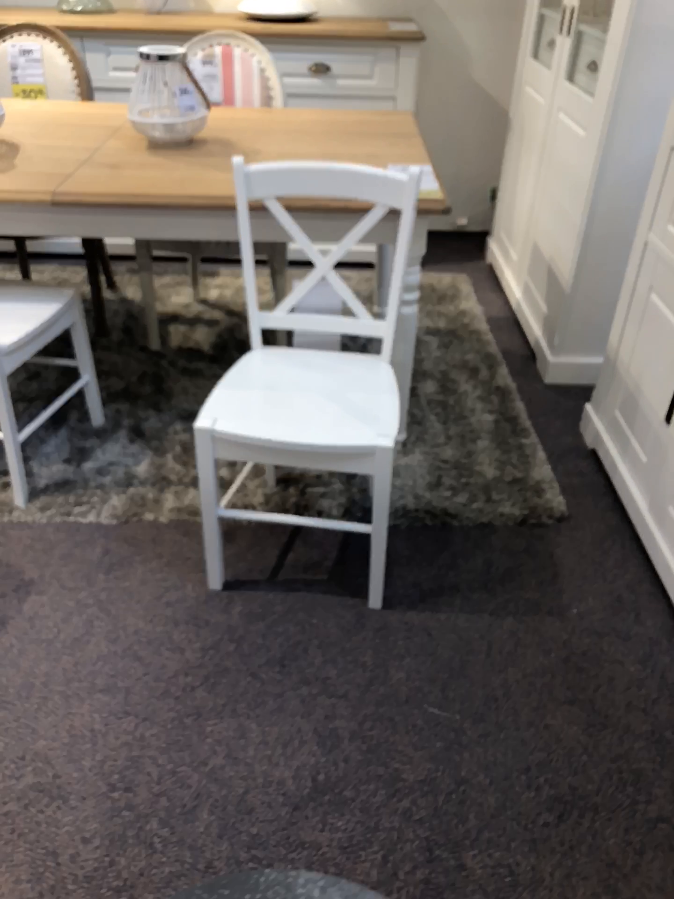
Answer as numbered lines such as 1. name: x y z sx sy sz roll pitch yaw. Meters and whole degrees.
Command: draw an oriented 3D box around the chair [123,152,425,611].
1. chair: -0.086 -0.136 1.539 0.460 0.785 0.463 4 34 4
